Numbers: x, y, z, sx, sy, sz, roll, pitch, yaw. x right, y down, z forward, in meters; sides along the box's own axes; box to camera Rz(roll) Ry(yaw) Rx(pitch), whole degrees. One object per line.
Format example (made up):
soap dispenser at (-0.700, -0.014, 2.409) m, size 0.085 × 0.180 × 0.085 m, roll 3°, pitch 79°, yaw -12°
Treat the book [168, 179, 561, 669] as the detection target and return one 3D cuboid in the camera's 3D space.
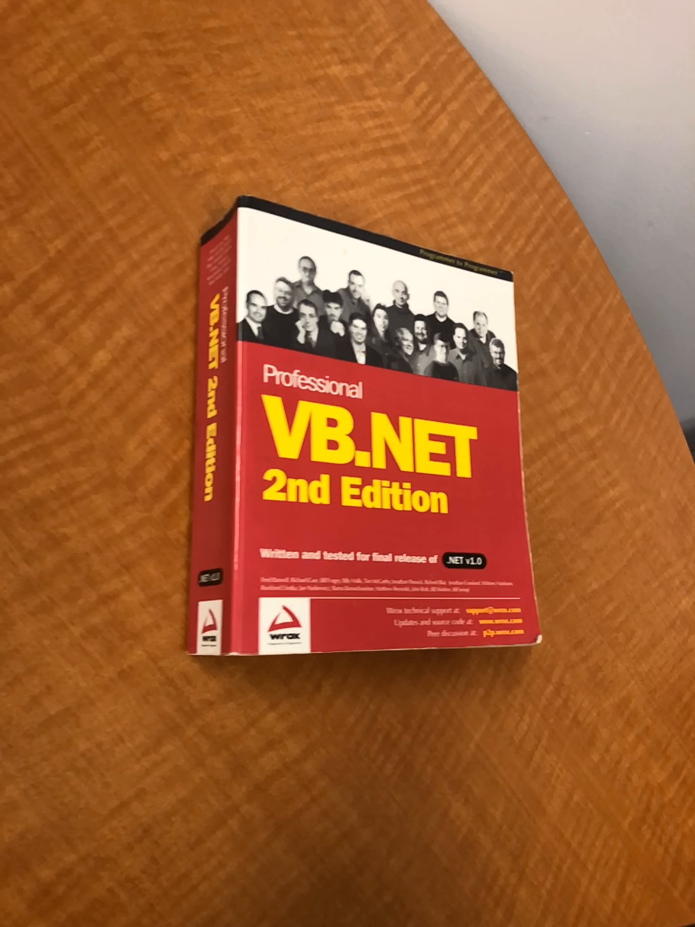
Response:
book at (0.013, -0.009, 0.419) m, size 0.201 × 0.060 × 0.230 m, roll 7°, pitch 73°, yaw -31°
